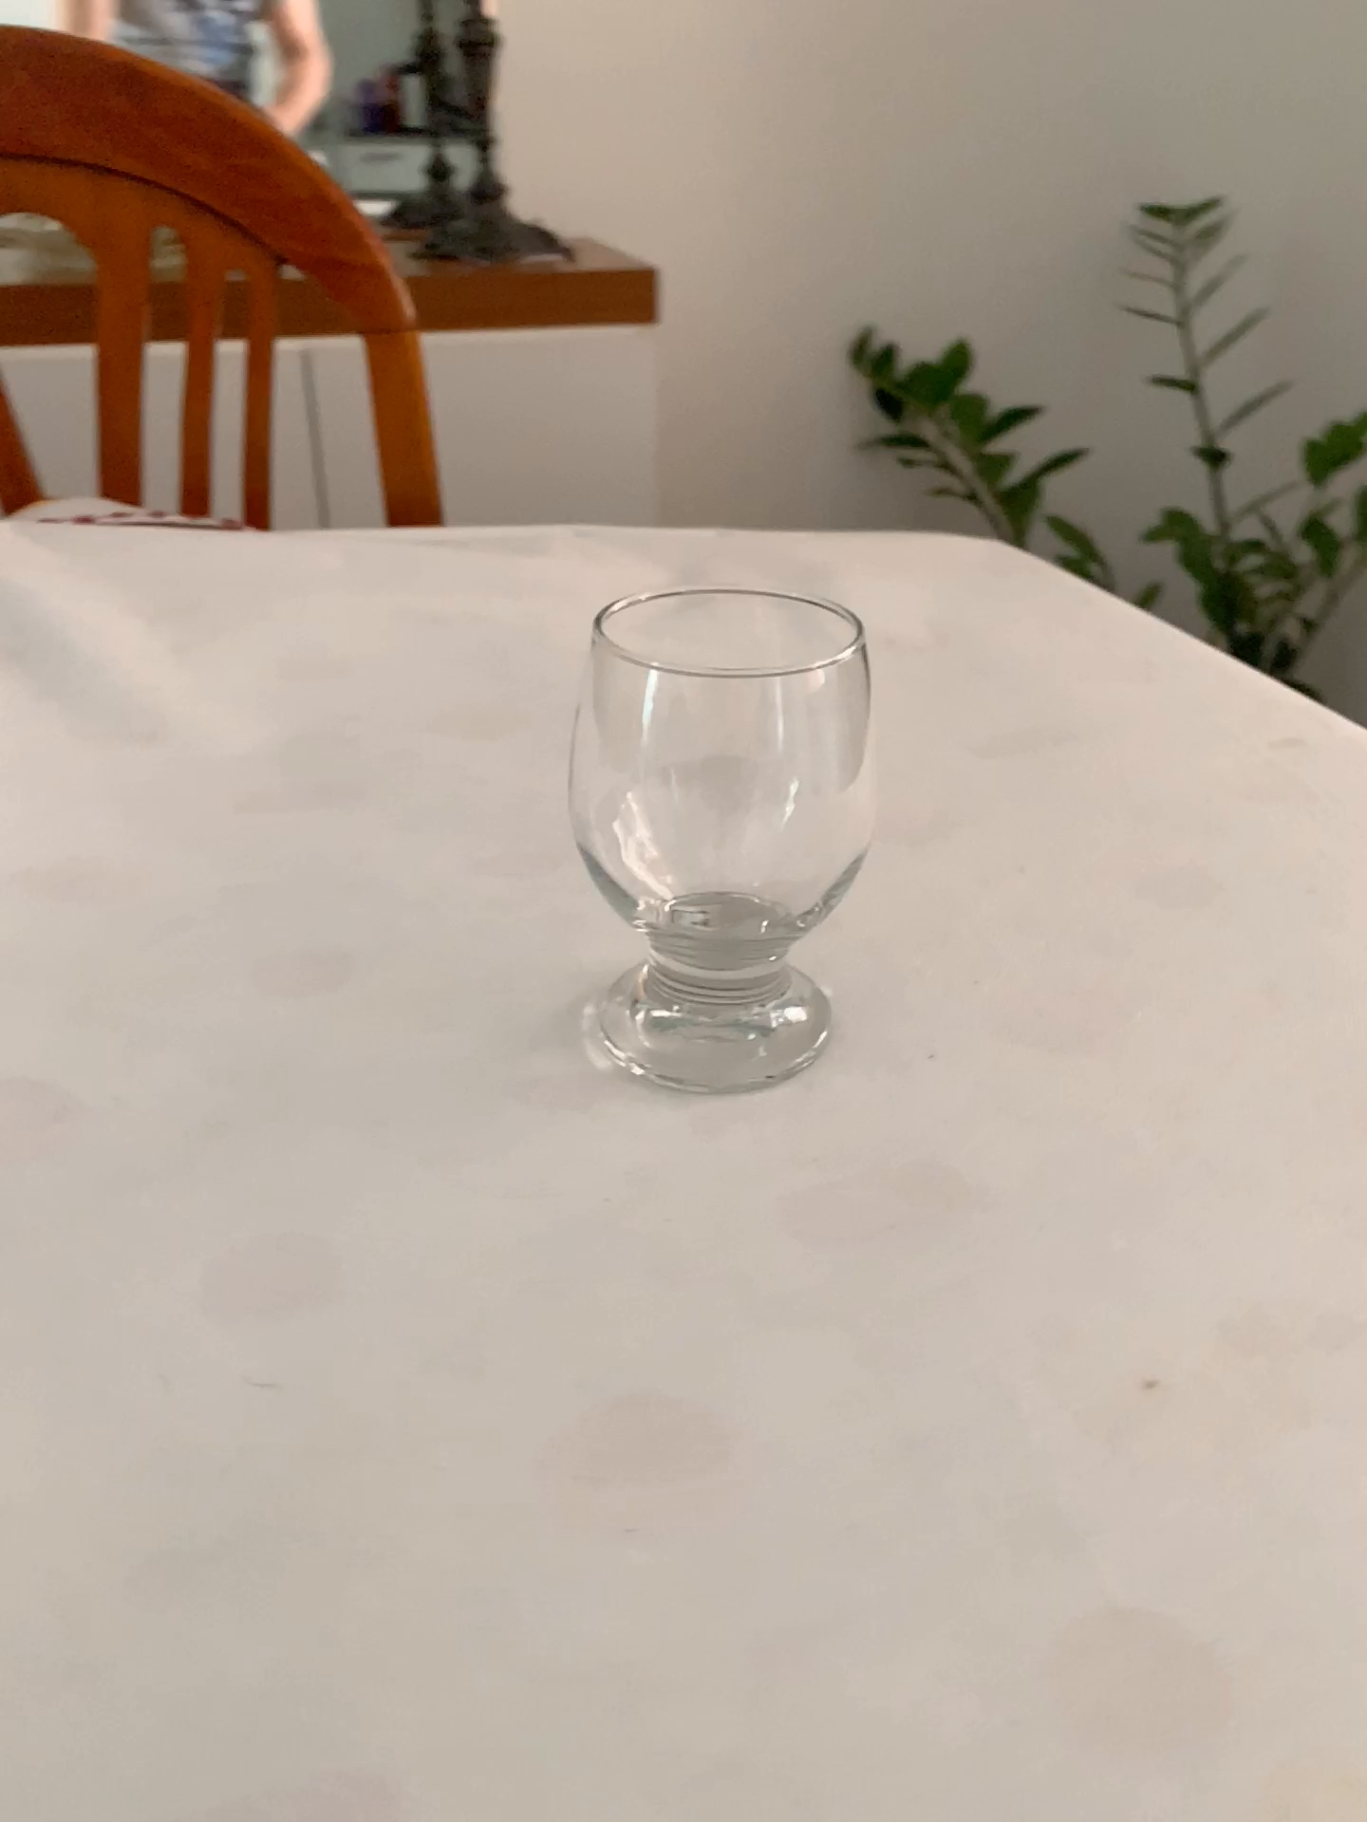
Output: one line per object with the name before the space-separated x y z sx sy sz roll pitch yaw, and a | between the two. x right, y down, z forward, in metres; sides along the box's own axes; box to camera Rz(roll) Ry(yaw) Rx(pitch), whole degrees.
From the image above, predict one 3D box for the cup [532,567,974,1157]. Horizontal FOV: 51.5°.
cup | 0.011 -0.015 0.348 0.080 0.112 0.080 1 29 0
